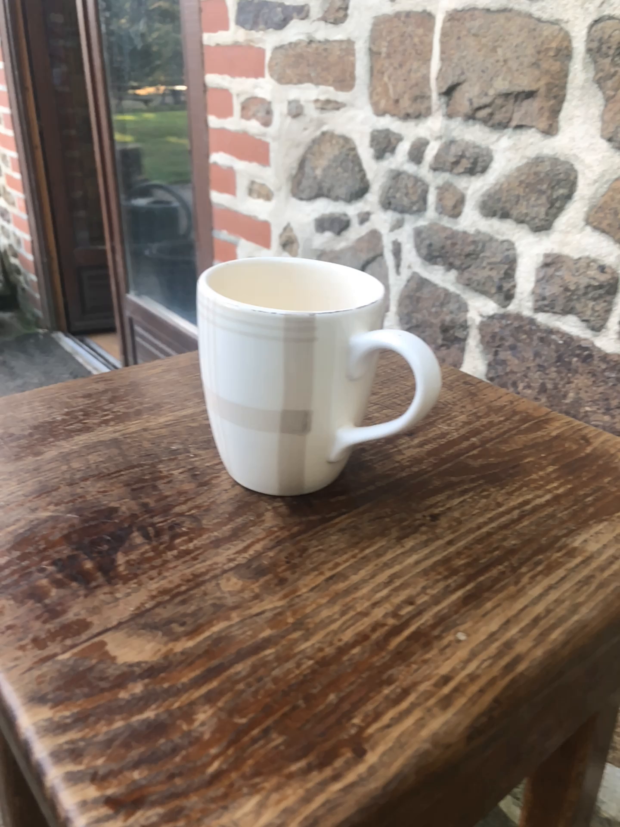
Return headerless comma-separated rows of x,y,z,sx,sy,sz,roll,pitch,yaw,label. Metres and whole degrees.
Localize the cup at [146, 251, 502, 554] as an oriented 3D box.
0.001,-0.016,0.304,0.088,0.078,0.124,-21,34,-41,cup
